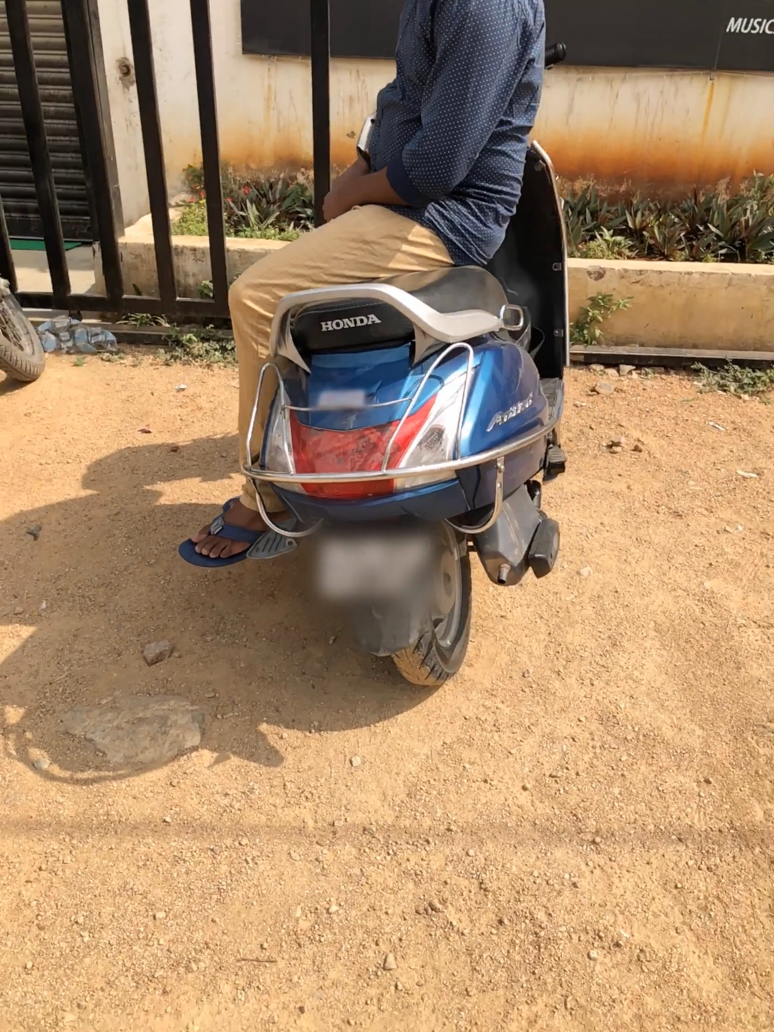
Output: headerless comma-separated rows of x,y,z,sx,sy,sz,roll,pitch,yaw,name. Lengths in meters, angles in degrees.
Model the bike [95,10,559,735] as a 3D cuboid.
0.017,-0.534,2.011,0.621,1.115,1.558,6,31,8,bike
